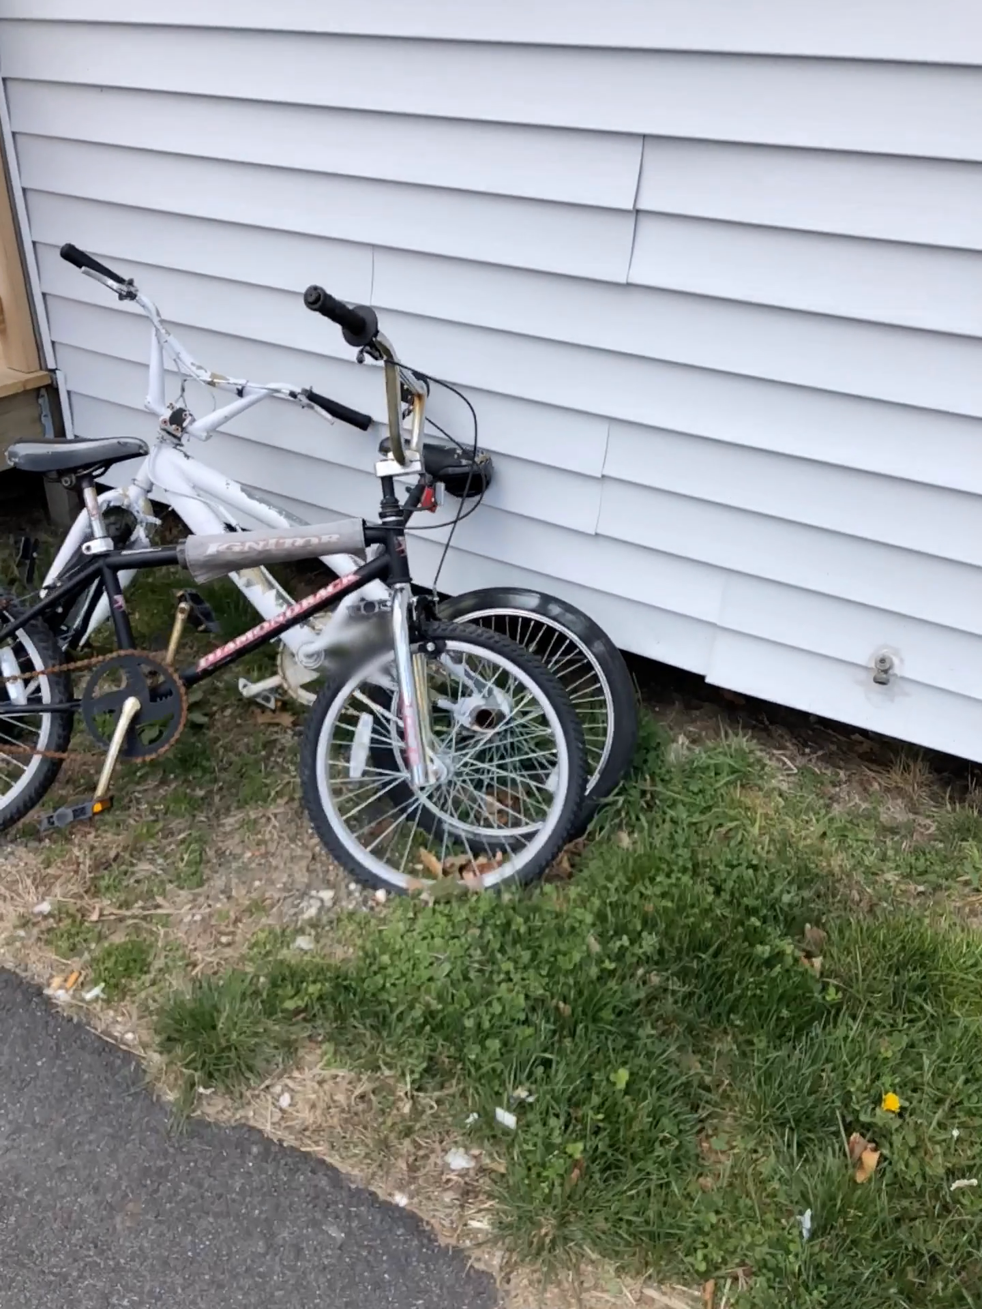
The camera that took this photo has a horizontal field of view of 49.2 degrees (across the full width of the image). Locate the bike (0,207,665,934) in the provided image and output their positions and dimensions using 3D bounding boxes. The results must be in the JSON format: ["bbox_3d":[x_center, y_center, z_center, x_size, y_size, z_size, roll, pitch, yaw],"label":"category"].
[{"bbox_3d":[-0.454,-0.178,1.774,1.294,0.932,0.761,2,31,2],"label":"bike"}]
